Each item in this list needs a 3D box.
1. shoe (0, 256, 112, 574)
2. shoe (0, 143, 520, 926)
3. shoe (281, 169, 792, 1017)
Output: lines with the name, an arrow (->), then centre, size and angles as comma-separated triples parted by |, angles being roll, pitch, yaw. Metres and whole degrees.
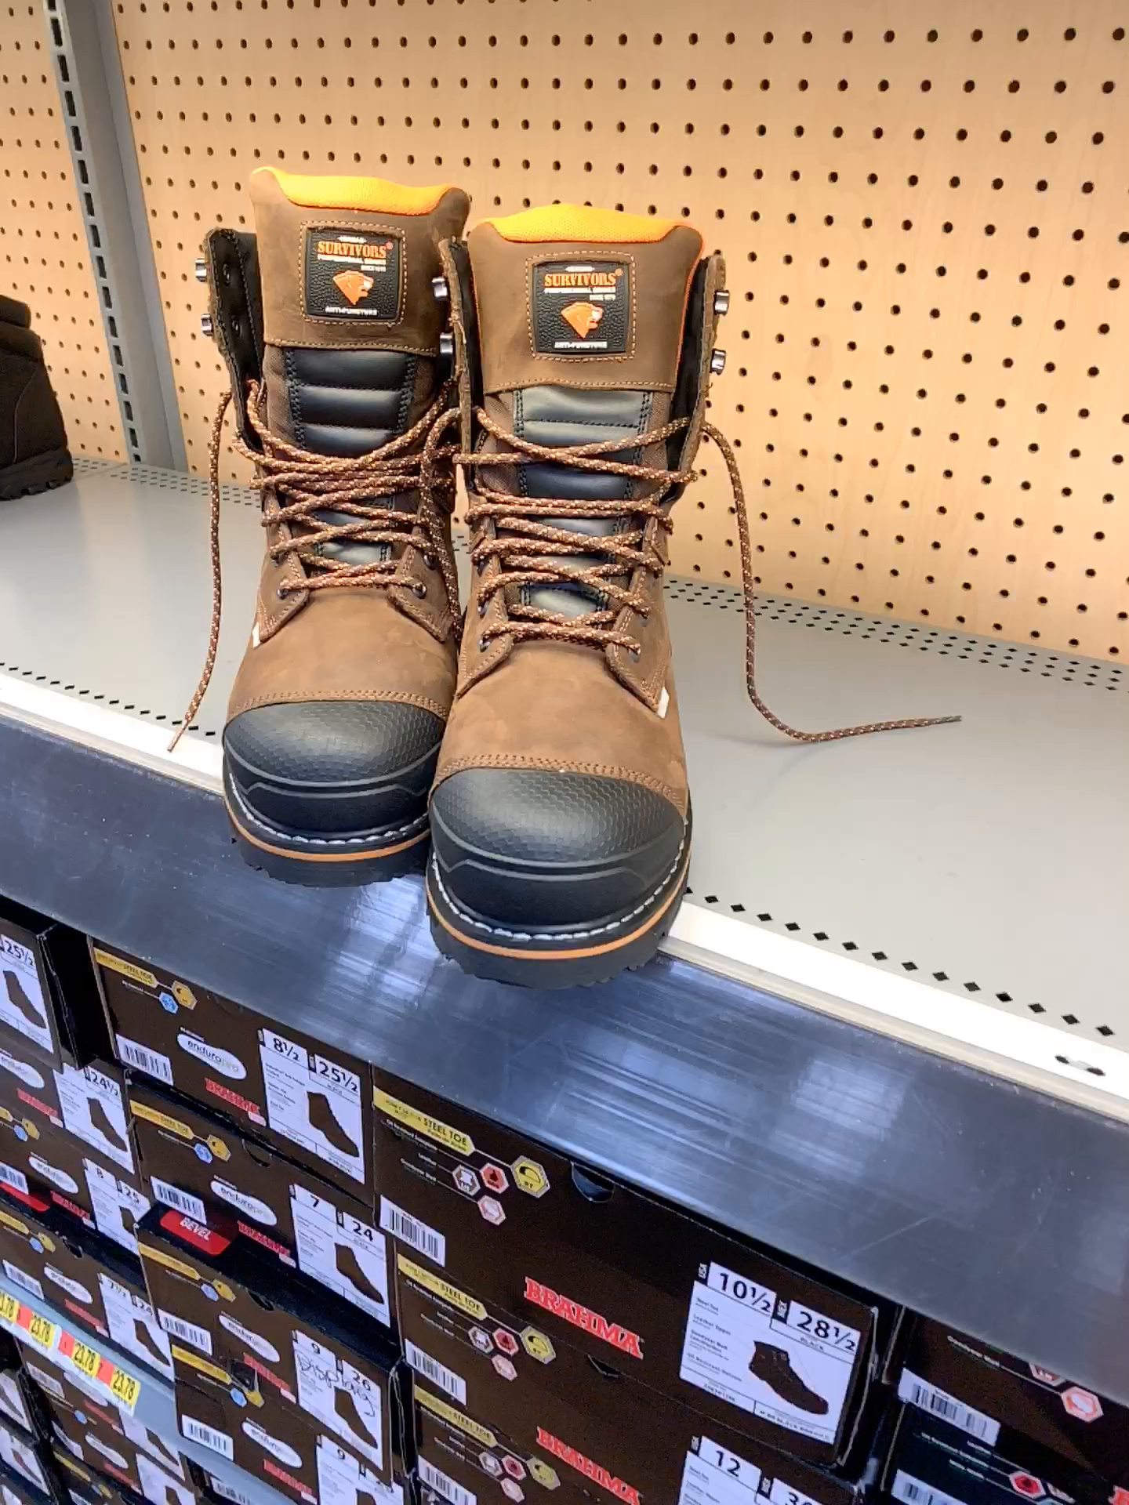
shoe -> -0.524, -0.276, 0.902 | 0.147, 0.169, 0.258 | 17, 35, 26
shoe -> -0.113, -0.130, 0.562 | 0.136, 0.279, 0.315 | 3, 31, 5
shoe -> 0.004, -0.097, 0.504 | 0.134, 0.259, 0.320 | 2, 31, 4
